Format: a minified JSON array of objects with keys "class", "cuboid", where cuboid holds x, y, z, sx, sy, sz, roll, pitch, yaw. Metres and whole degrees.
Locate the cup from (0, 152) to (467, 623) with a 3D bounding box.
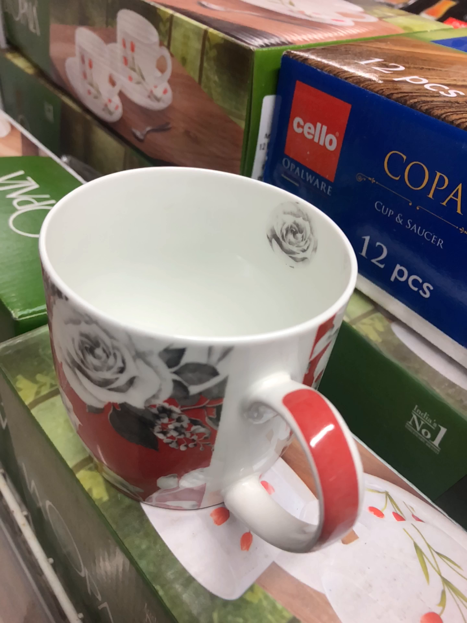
[{"class":"cup","cuboid":[-0.012,0.016,0.148,0.090,0.070,0.110,-19,47,-33]}]
